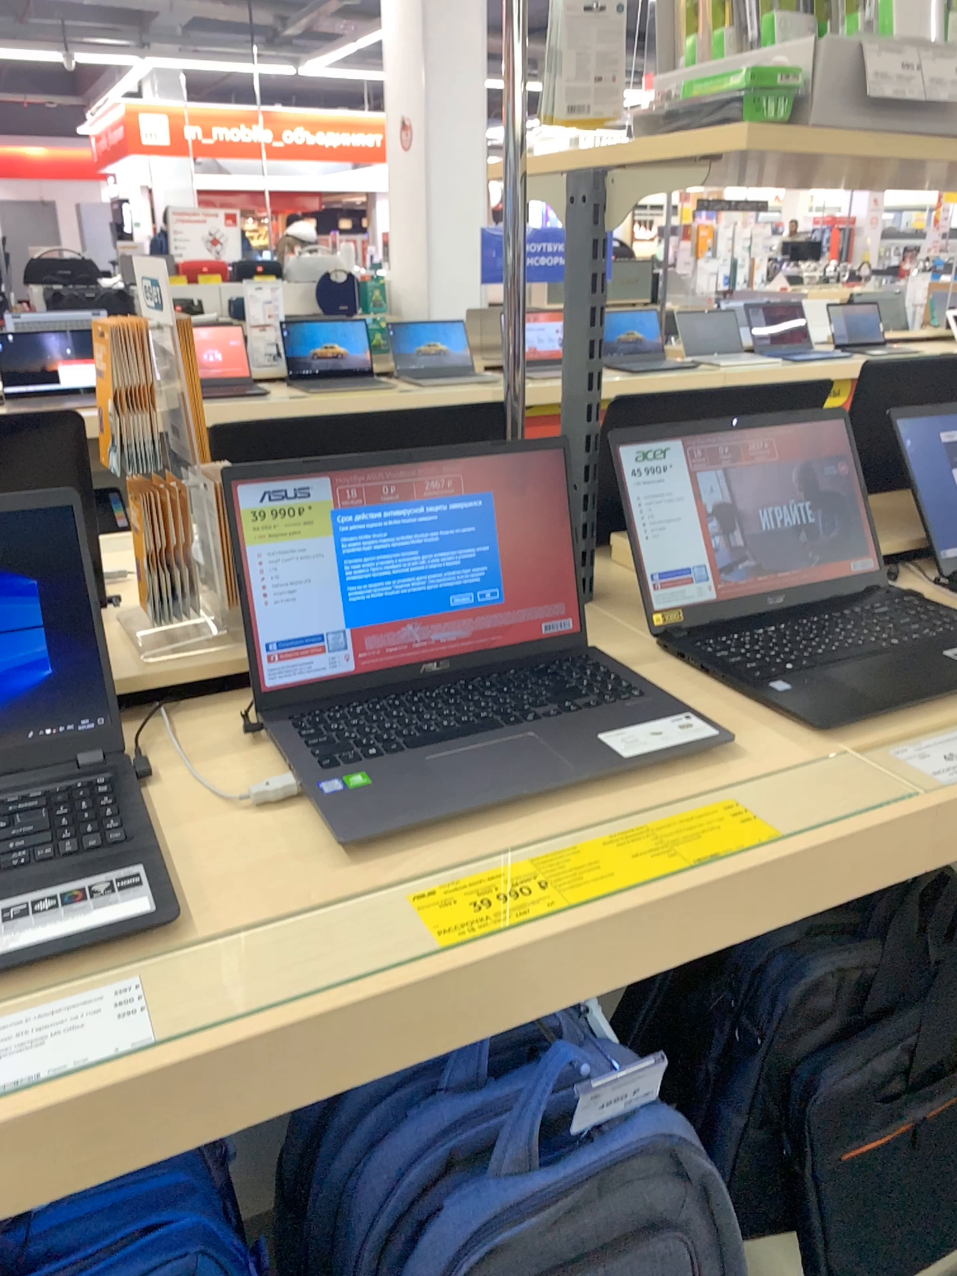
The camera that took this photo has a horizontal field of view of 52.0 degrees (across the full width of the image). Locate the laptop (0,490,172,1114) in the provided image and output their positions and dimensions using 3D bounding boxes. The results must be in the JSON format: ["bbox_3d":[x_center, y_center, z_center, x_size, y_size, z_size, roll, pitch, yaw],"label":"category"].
[{"bbox_3d":[-0.434,0.052,0.680,0.350,0.214,0.362,-10,22,-25],"label":"laptop"}]

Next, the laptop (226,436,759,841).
[{"bbox_3d":[0.000,-0.033,0.882,0.366,0.217,0.298,-11,23,-25],"label":"laptop"}]
